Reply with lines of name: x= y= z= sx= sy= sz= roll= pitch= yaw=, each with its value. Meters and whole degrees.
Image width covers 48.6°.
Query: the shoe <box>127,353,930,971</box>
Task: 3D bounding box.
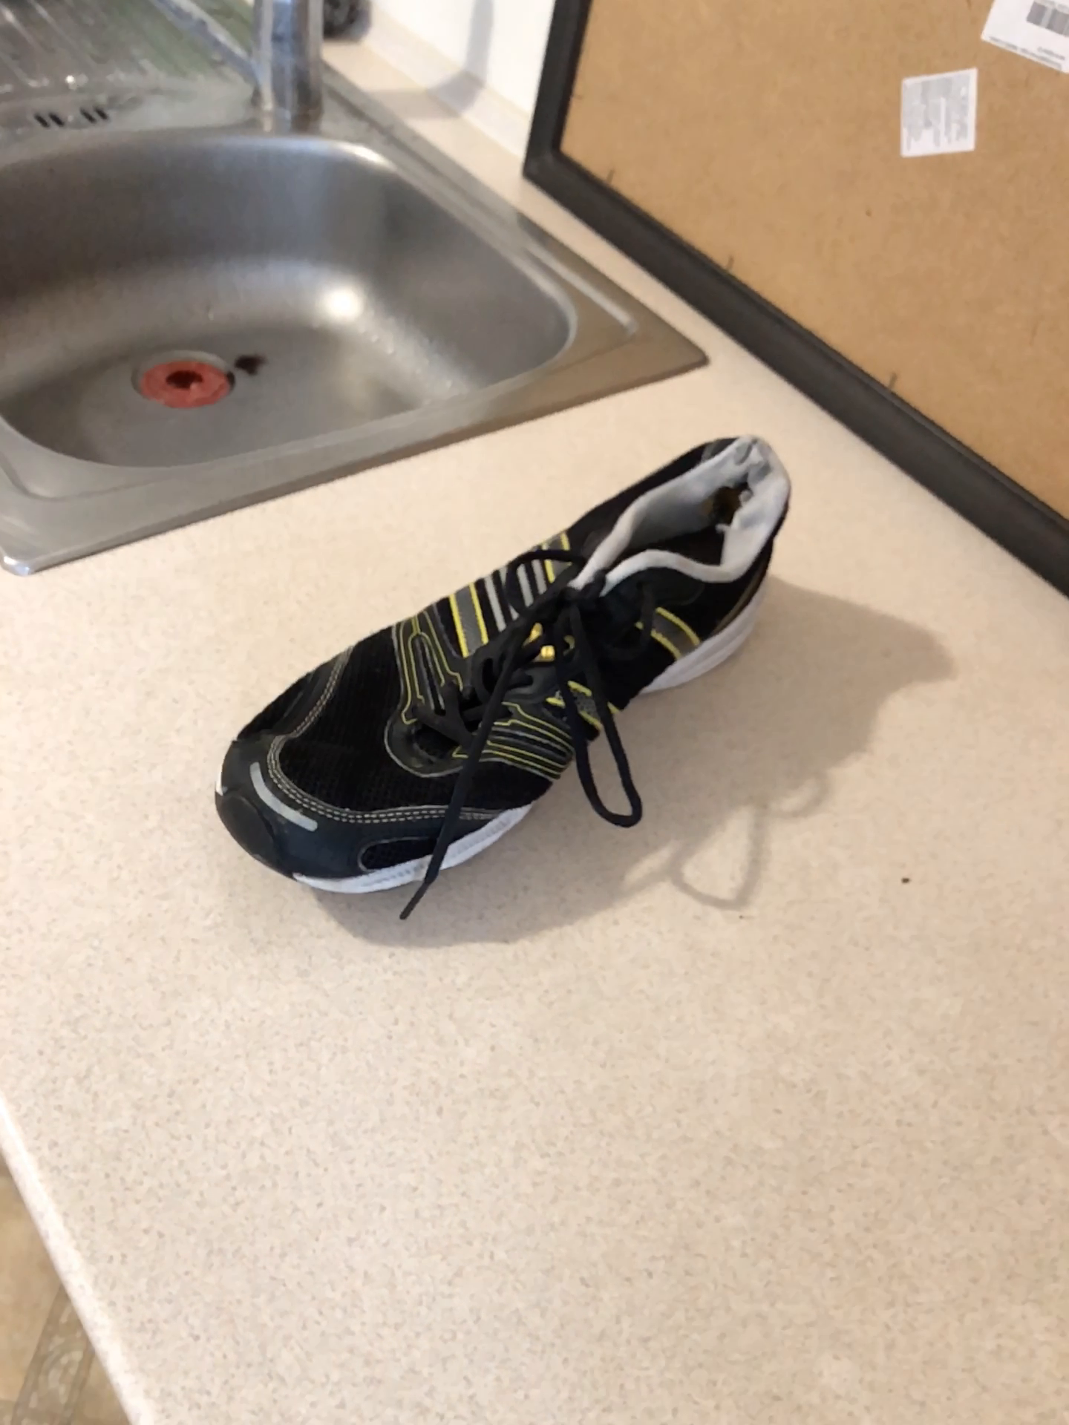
shoe: x=0.009 y=-0.039 z=0.486 sx=0.311 sy=0.099 sz=0.110 roll=-28 pitch=59 yaw=-31
